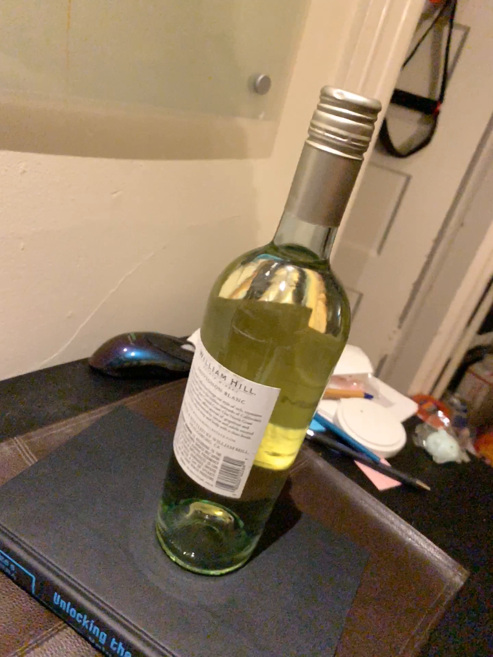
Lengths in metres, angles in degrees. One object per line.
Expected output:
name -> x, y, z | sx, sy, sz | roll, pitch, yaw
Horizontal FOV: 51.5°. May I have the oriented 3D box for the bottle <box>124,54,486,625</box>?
bottle -> 0.013, 0.022, 0.296 | 0.090, 0.298, 0.090 | 12, 29, -7
